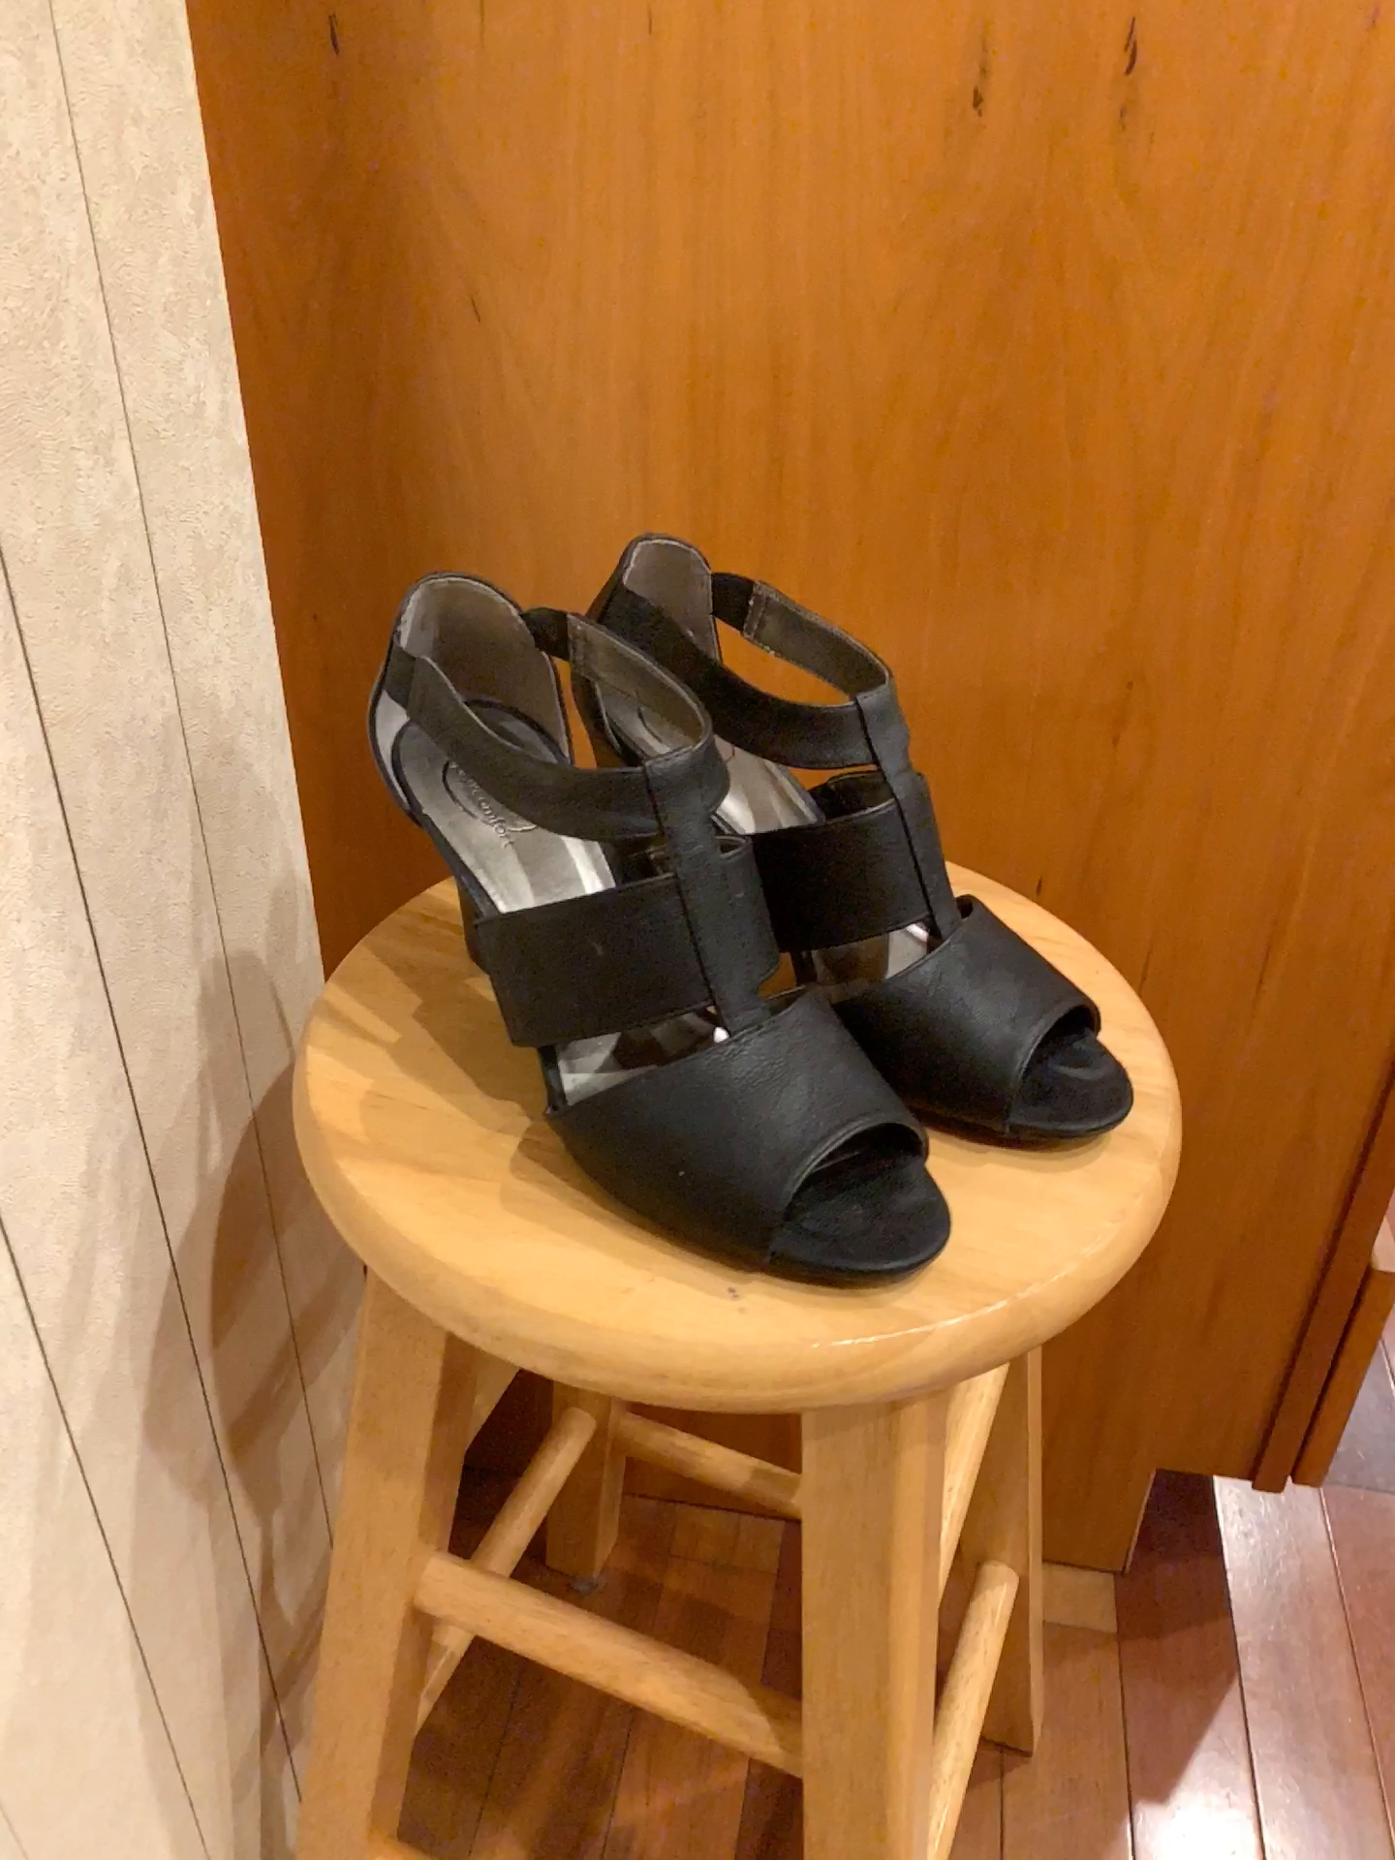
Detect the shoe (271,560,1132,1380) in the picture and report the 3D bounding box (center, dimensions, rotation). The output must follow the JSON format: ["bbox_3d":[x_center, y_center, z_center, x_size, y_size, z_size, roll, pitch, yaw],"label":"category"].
[{"bbox_3d":[-0.014,-0.007,0.421,0.090,0.125,0.244,-26,42,-36],"label":"shoe"}]

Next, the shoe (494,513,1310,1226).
[{"bbox_3d":[0.050,-0.036,0.469,0.234,0.130,0.100,29,42,35],"label":"shoe"}]
